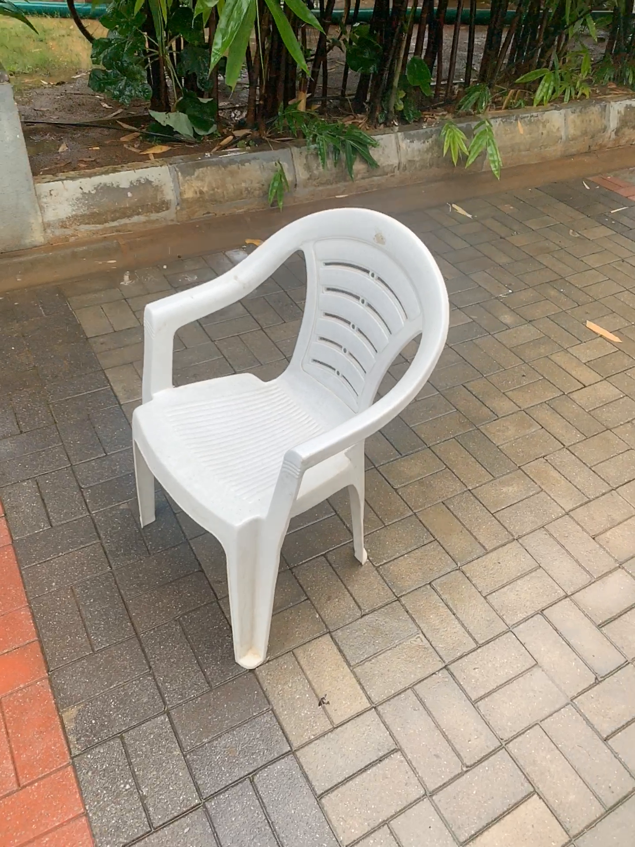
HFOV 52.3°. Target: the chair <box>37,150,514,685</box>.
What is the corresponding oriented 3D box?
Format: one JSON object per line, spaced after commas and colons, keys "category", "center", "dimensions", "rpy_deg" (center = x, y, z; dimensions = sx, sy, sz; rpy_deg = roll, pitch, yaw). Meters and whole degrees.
{"category": "chair", "center": [-0.101, -0.025, 1.338], "dimensions": [0.571, 0.777, 0.562], "rpy_deg": [-27, 52, -30]}
